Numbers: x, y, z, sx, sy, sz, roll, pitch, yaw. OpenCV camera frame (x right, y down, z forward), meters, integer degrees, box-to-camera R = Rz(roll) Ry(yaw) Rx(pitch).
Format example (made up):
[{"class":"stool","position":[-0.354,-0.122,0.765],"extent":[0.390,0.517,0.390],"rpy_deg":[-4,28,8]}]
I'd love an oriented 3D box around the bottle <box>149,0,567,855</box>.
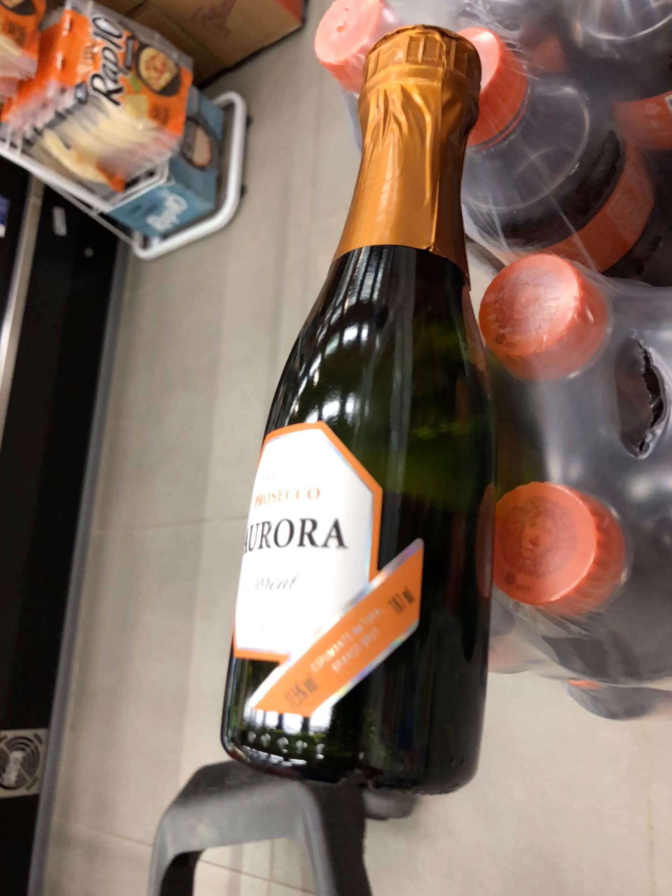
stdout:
[{"class":"bottle","position":[0.010,-0.019,0.170],"extent":[0.060,0.050,0.180],"rpy_deg":[-4,75,38]}]
